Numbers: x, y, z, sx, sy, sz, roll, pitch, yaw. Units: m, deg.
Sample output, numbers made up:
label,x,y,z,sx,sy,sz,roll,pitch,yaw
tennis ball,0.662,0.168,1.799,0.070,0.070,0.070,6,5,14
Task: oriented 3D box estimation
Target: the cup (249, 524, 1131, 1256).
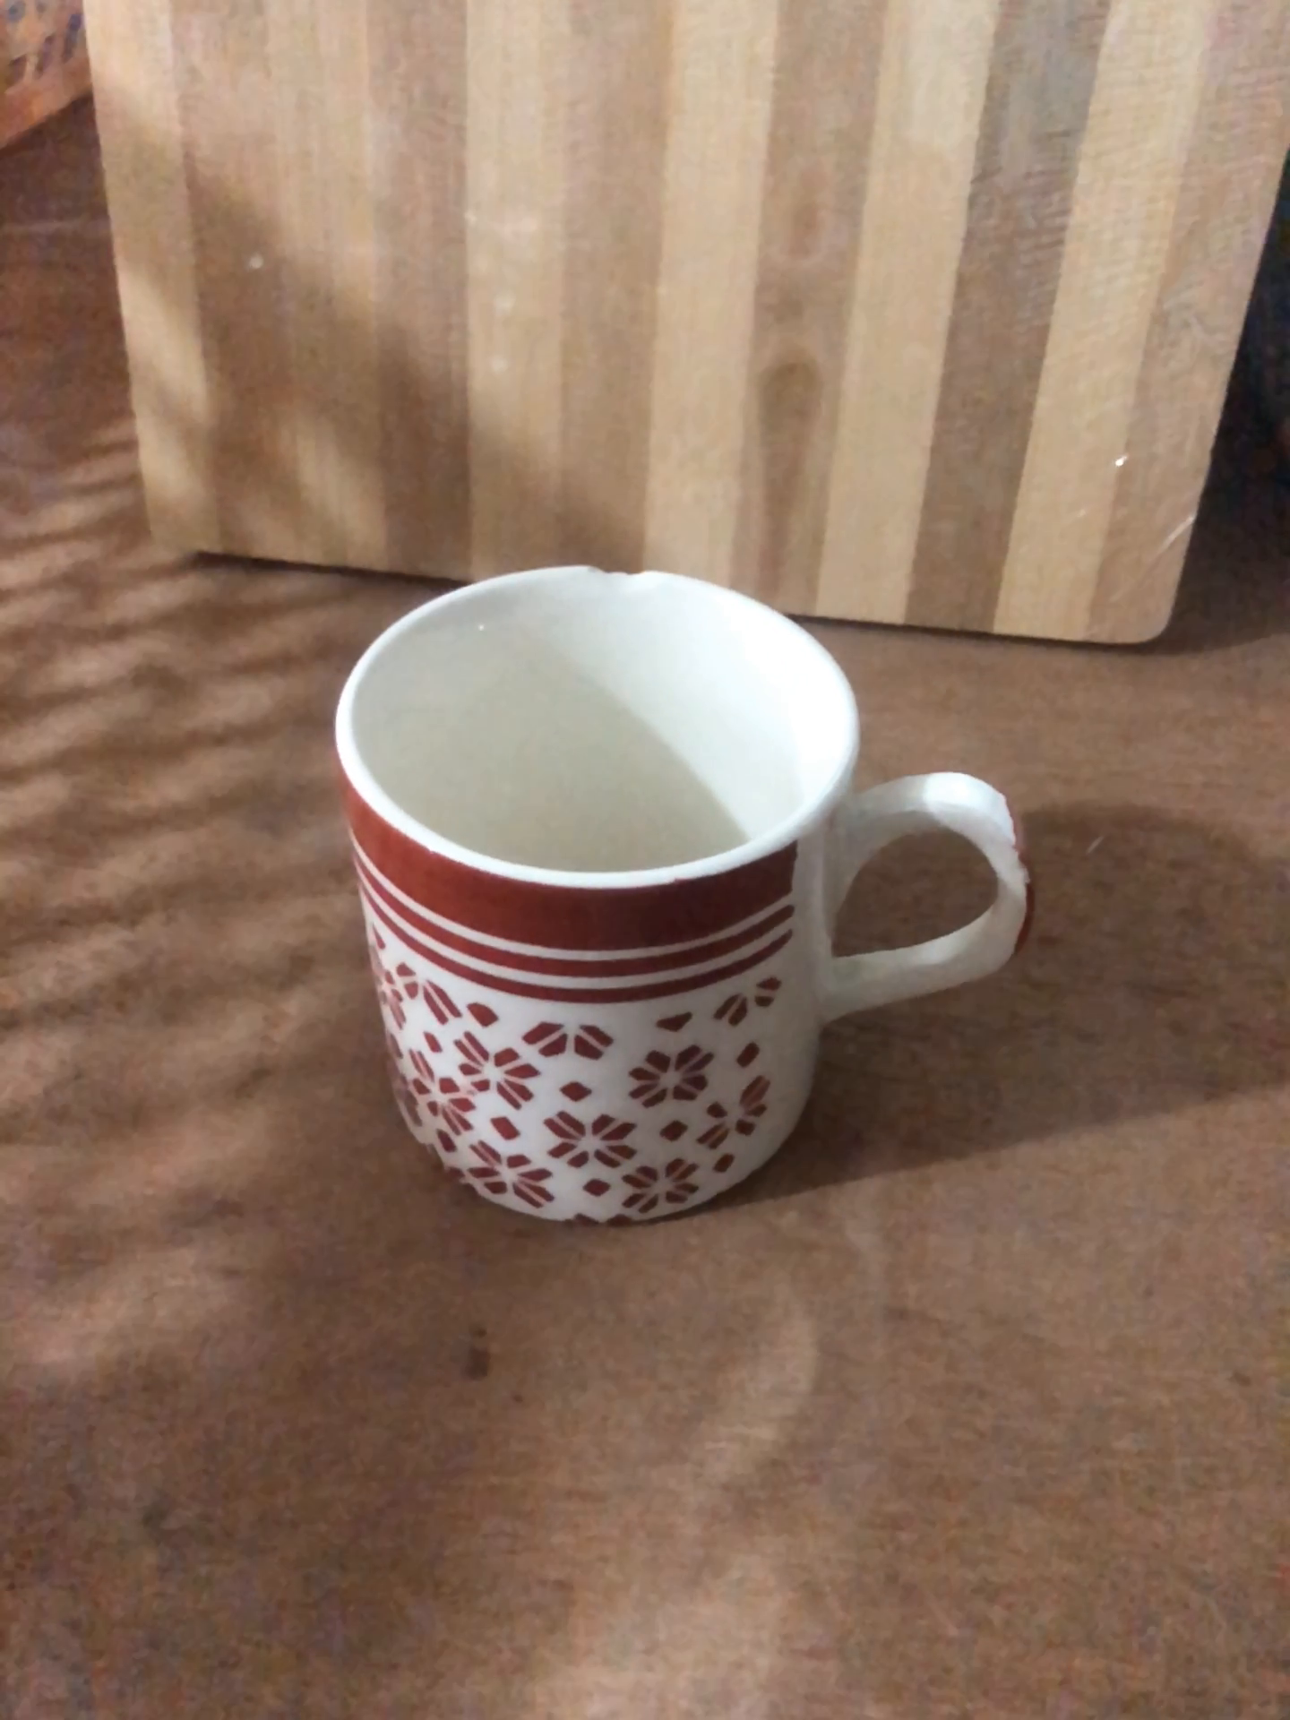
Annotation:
label,x,y,z,sx,sy,sz,roll,pitch,yaw
cup,0.005,0.004,0.197,0.090,0.070,0.070,0,43,0
